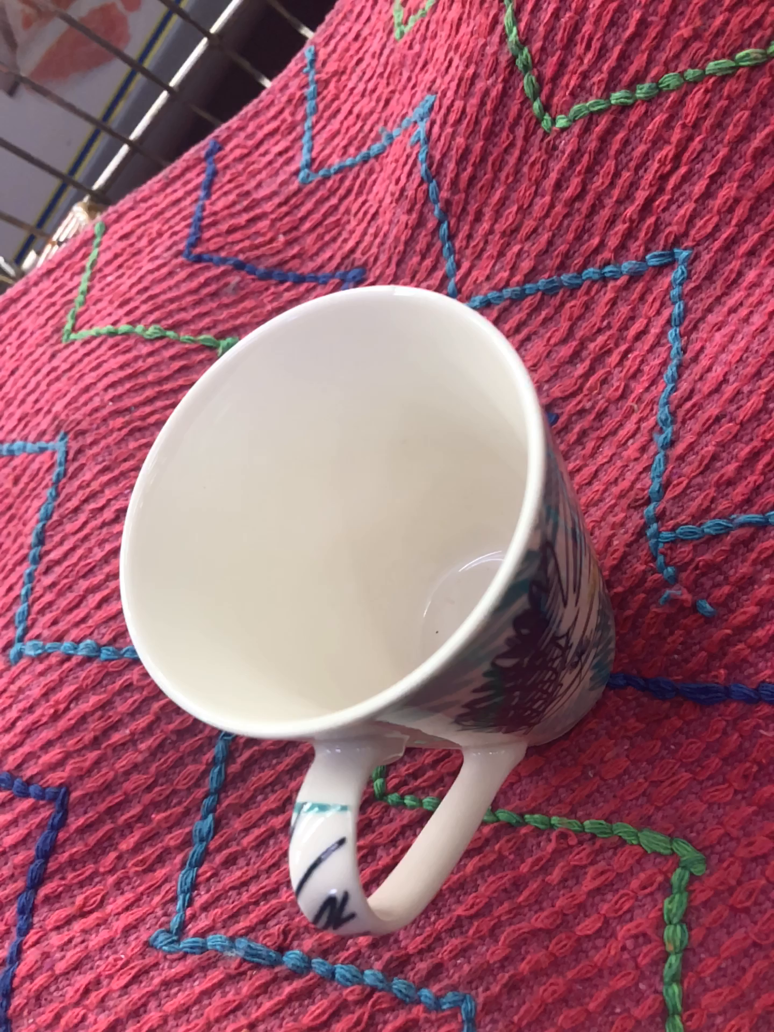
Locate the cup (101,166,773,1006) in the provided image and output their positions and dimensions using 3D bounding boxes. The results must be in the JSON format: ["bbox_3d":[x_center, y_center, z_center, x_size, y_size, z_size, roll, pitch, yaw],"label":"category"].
[{"bbox_3d":[0.009,0.020,0.163,0.090,0.080,0.110,-15,70,25],"label":"cup"}]
